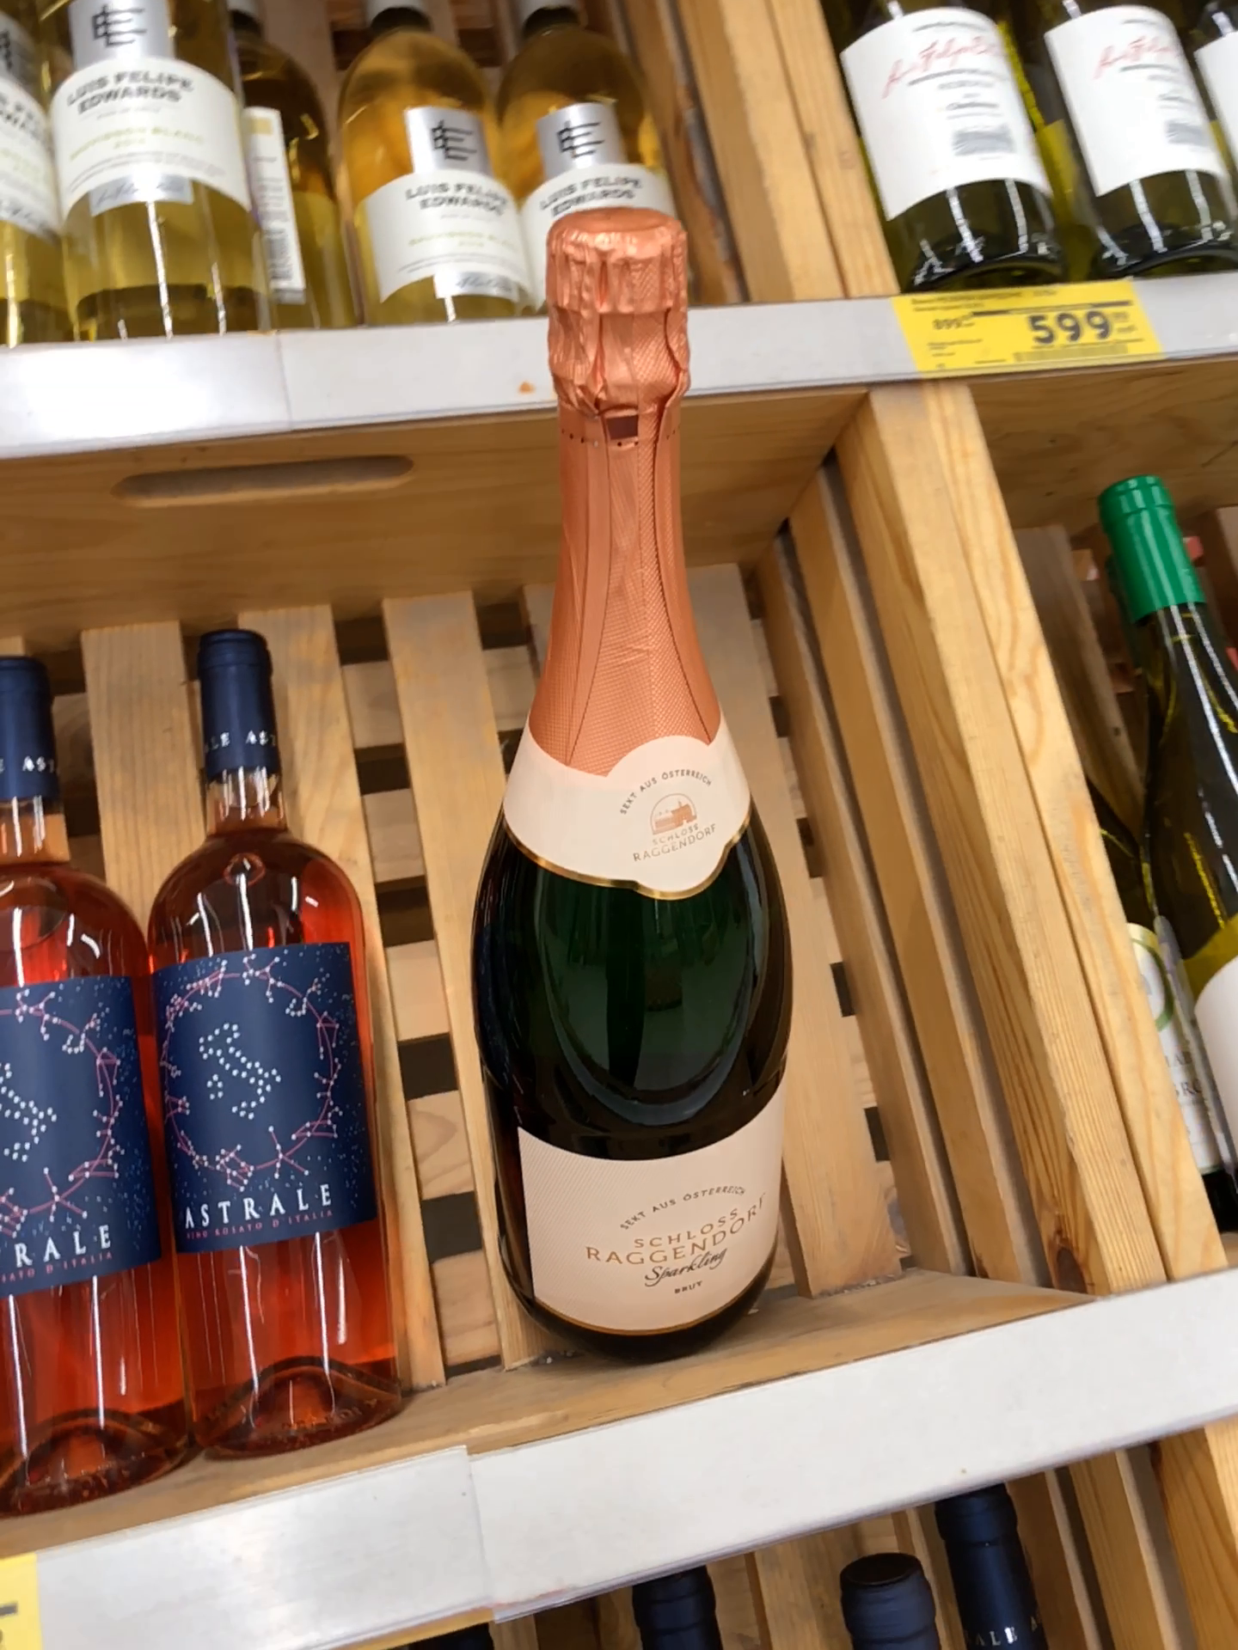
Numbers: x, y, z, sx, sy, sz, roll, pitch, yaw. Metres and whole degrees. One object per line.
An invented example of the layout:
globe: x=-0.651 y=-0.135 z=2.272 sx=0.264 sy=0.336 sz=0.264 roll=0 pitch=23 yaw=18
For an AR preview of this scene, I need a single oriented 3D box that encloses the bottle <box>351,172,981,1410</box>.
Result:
bottle: x=0.003 y=0.005 z=0.420 sx=0.120 sy=0.358 sz=0.110 roll=0 pitch=32 yaw=0
